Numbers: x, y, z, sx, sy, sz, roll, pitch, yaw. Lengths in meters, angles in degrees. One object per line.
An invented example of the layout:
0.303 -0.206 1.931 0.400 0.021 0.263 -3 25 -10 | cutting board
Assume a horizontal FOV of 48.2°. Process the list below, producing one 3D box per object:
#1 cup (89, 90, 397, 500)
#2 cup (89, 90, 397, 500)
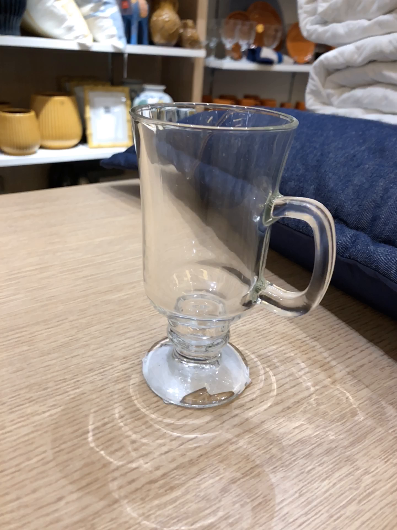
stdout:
0.016 0.001 0.219 0.090 0.149 0.110 -17 33 -37 | cup
0.016 0.001 0.219 0.090 0.149 0.110 -17 33 -37 | cup
